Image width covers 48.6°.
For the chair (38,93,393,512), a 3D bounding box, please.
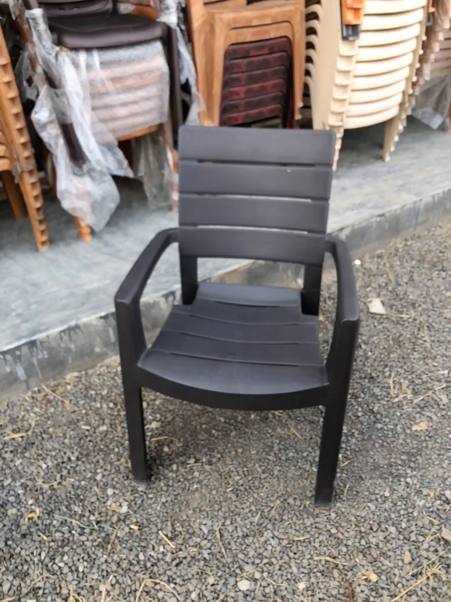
[{"bbox_3d":[0.032,-0.029,1.295,0.570,0.796,0.684,4,36,8],"label":"chair"}]
